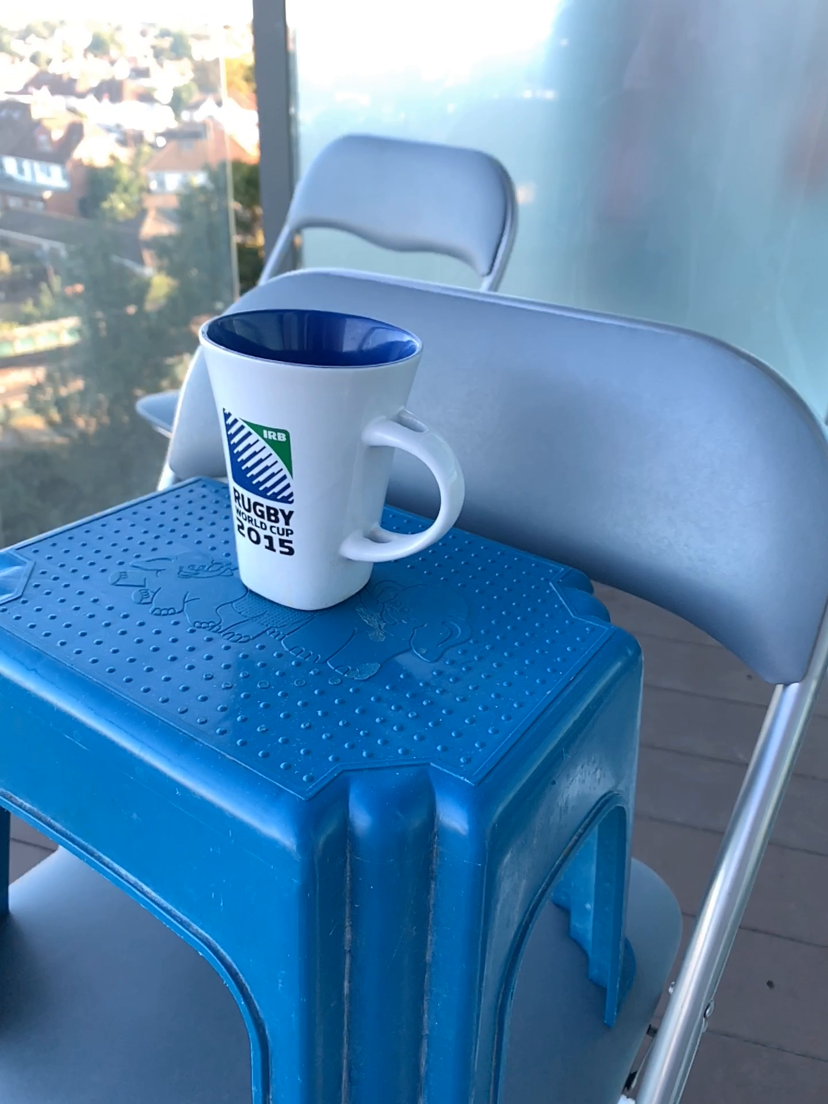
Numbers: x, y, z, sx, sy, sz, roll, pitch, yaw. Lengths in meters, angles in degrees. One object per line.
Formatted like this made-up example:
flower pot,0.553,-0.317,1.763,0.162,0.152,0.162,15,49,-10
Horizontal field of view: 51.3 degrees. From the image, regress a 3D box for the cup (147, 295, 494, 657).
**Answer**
cup,-0.038,-0.038,0.361,0.107,0.105,0.083,20,33,28
